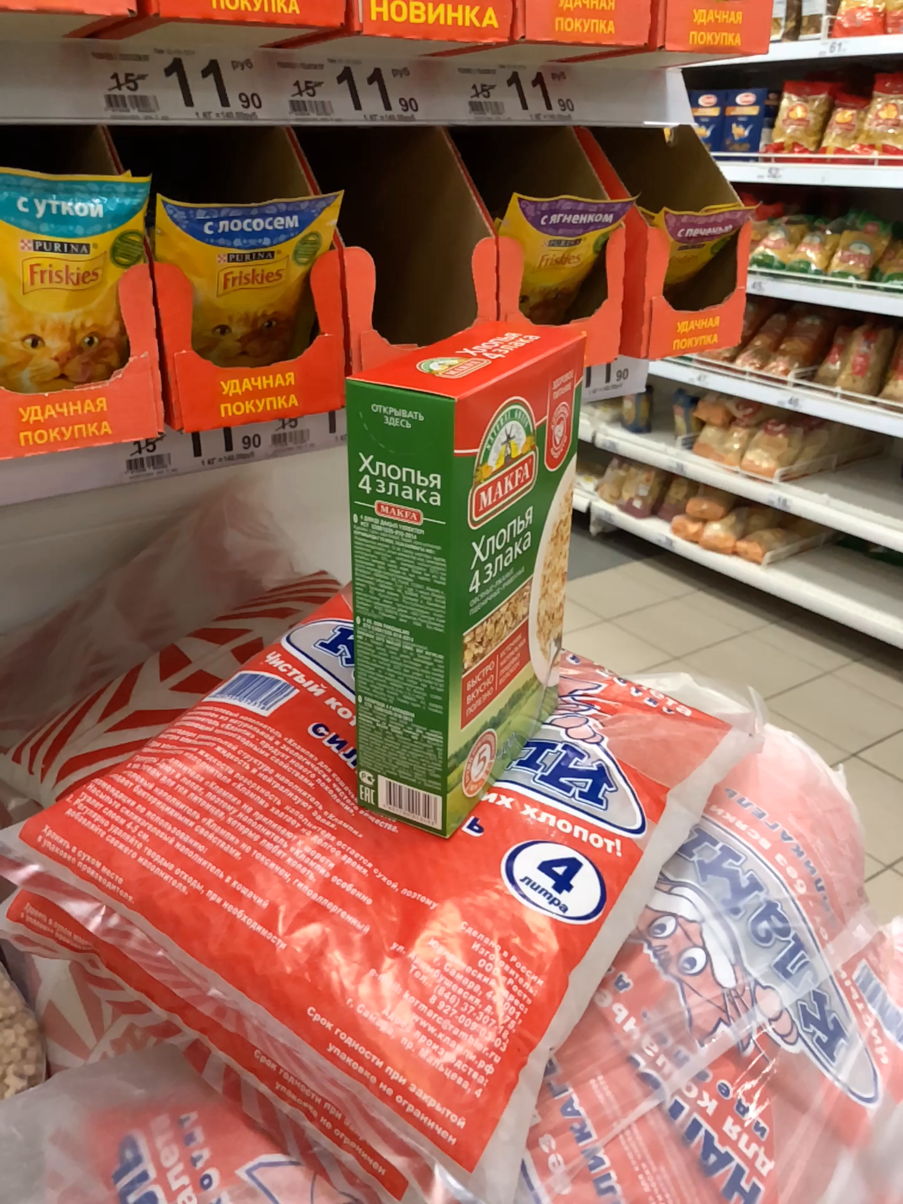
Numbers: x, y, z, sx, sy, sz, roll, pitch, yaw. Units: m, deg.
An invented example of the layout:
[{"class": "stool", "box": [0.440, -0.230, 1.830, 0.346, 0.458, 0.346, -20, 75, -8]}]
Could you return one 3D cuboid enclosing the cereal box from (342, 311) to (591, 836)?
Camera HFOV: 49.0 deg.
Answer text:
[{"class": "cereal box", "box": [0.011, -0.019, 0.477, 0.050, 0.209, 0.141, 14, 29, 24]}]
